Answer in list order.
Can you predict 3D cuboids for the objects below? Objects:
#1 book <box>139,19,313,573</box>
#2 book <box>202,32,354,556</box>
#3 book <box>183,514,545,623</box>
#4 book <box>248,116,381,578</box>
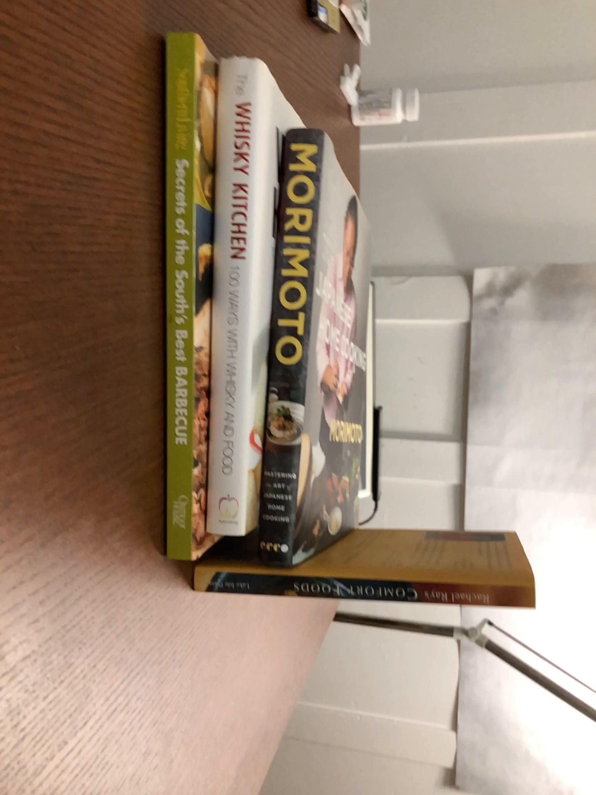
[{"bbox_3d":[-0.037,-0.056,0.446,0.221,0.030,0.280,-17,110,-73],"label":"book"},{"bbox_3d":[-0.003,-0.058,0.464,0.221,0.030,0.280,-10,103,-74],"label":"book"},{"bbox_3d":[0.058,0.115,0.482,0.211,0.209,0.030,19,72,-75],"label":"book"},{"bbox_3d":[0.024,-0.028,0.508,0.221,0.030,0.280,9,84,-74],"label":"book"}]
